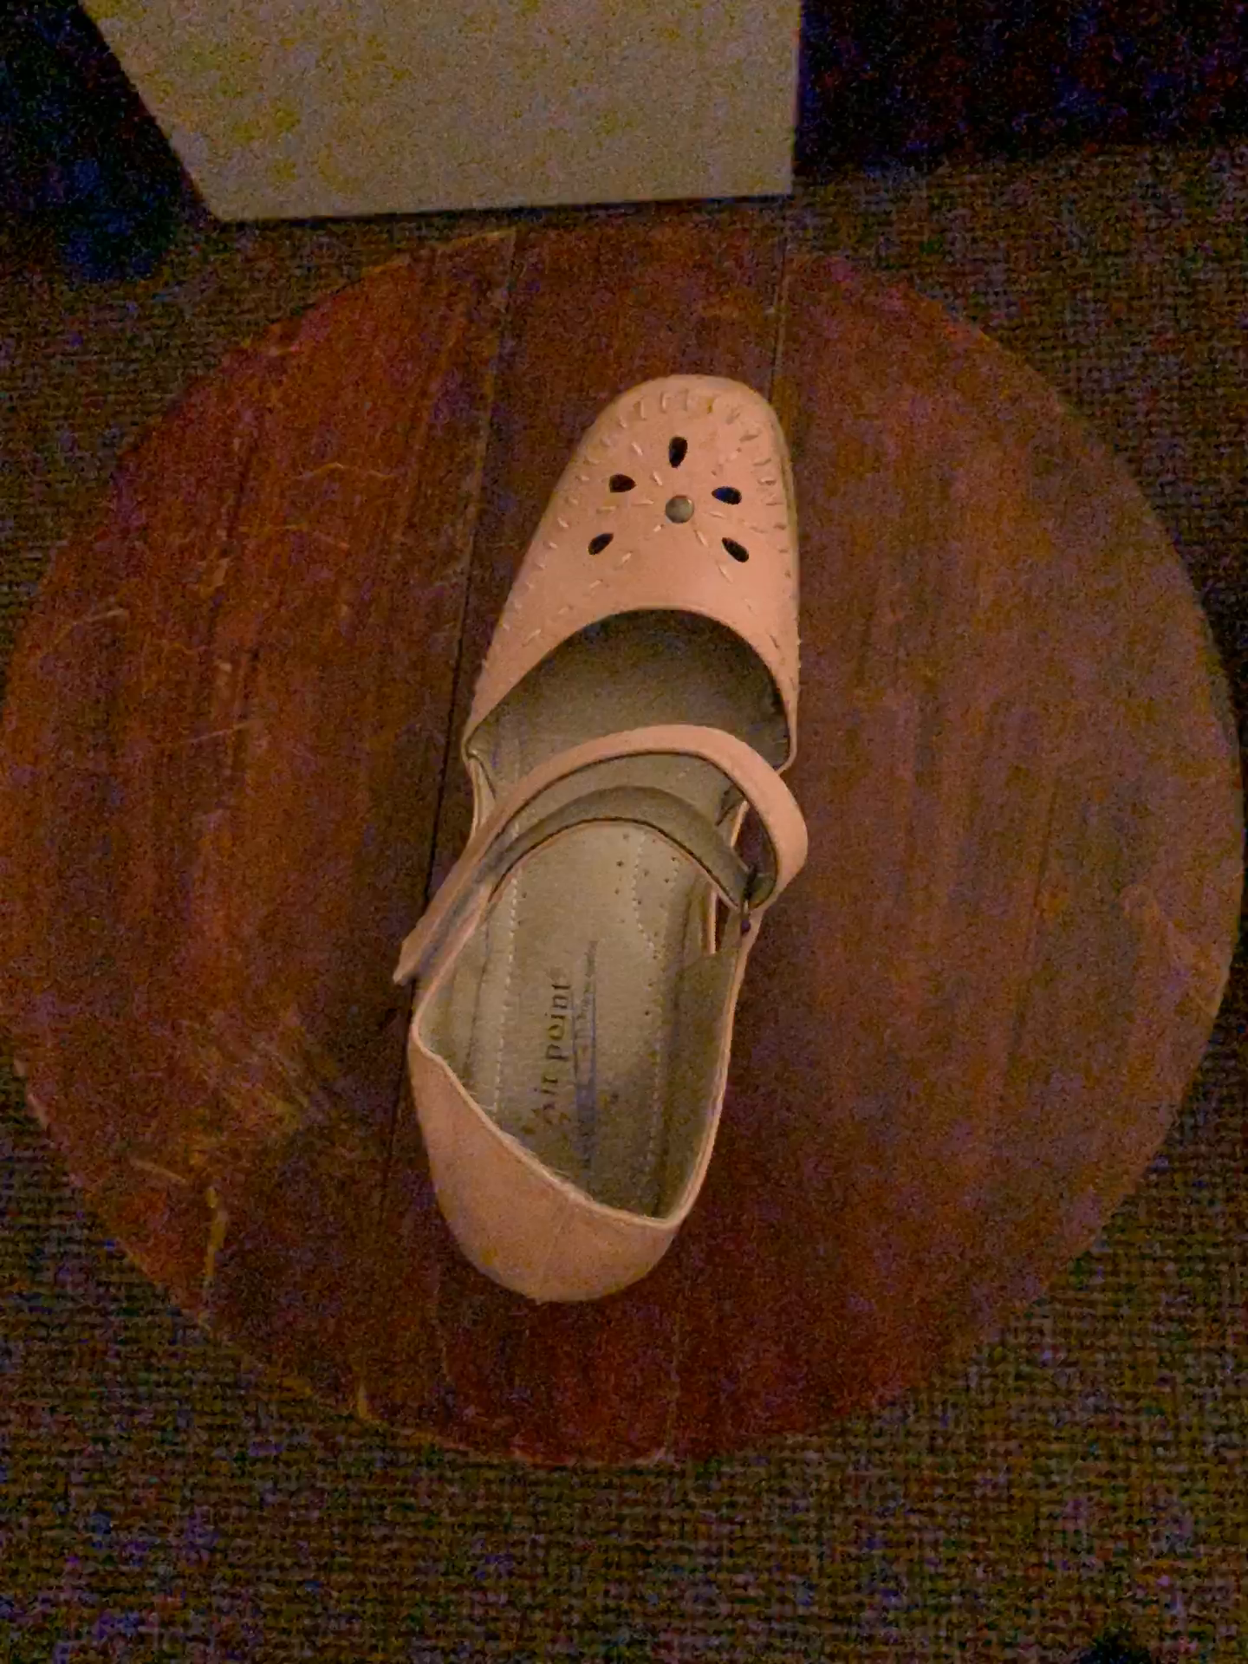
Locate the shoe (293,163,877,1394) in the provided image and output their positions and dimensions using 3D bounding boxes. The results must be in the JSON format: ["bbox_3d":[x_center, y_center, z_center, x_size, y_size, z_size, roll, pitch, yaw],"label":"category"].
[{"bbox_3d":[0.000,-0.018,0.327,0.101,0.092,0.272,5,79,7],"label":"shoe"}]
